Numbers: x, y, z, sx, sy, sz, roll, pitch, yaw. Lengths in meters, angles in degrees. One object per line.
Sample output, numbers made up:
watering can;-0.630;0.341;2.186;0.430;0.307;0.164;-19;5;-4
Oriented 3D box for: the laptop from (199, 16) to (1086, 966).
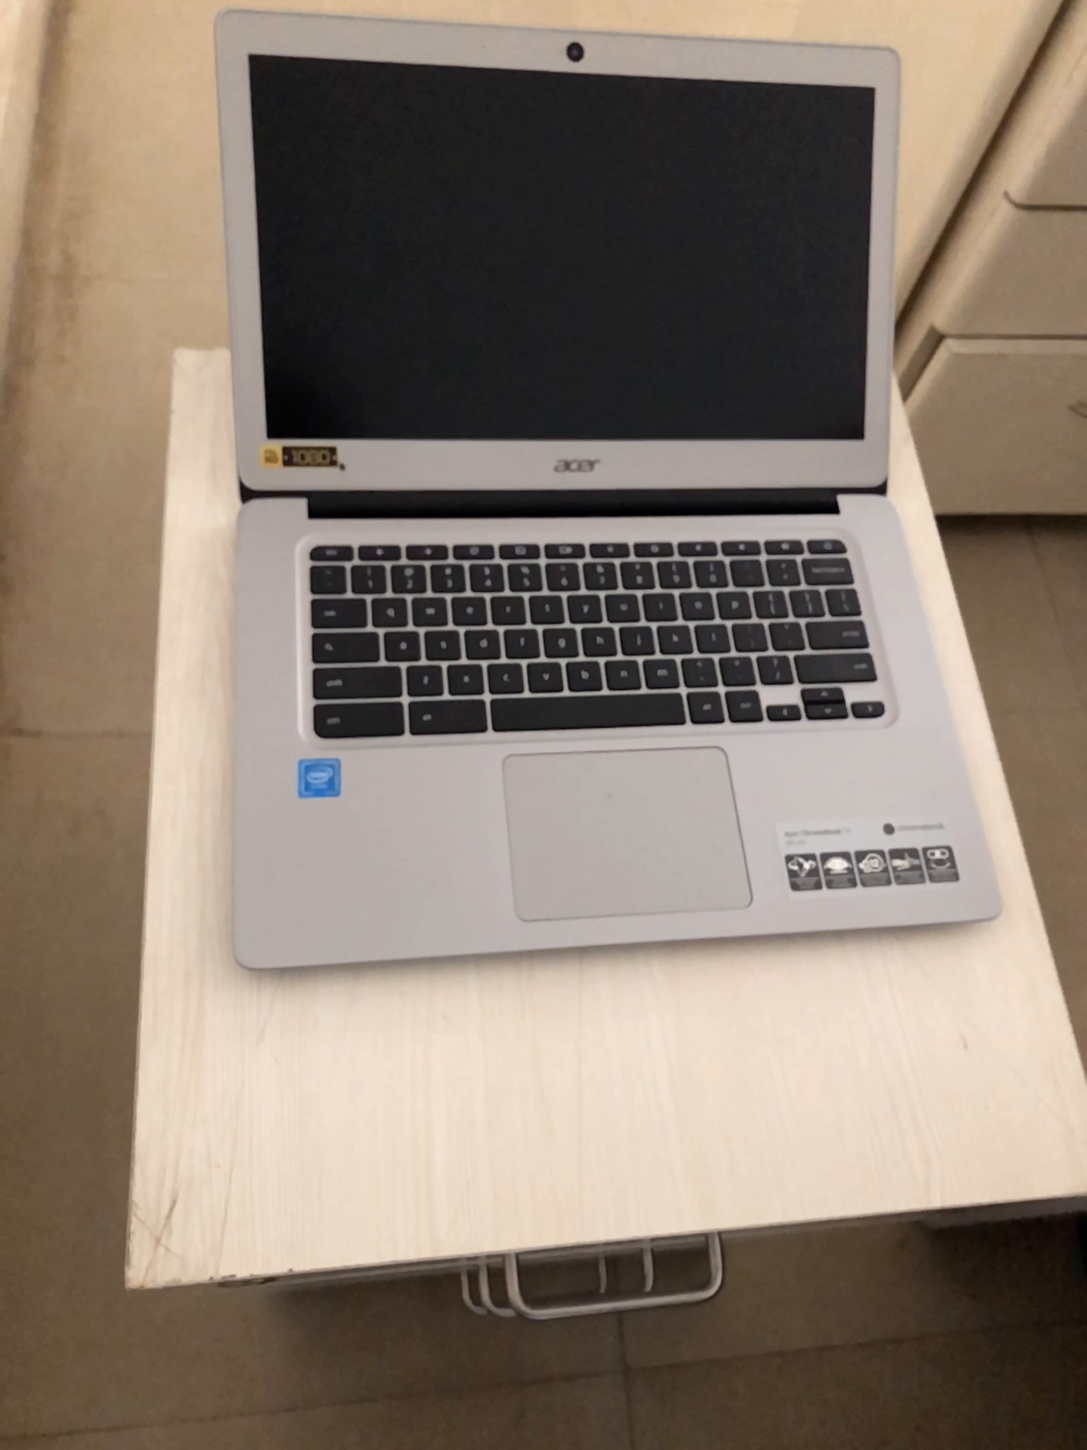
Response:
laptop;0.027;-0.119;0.549;0.332;0.126;0.409;-2;65;-9
